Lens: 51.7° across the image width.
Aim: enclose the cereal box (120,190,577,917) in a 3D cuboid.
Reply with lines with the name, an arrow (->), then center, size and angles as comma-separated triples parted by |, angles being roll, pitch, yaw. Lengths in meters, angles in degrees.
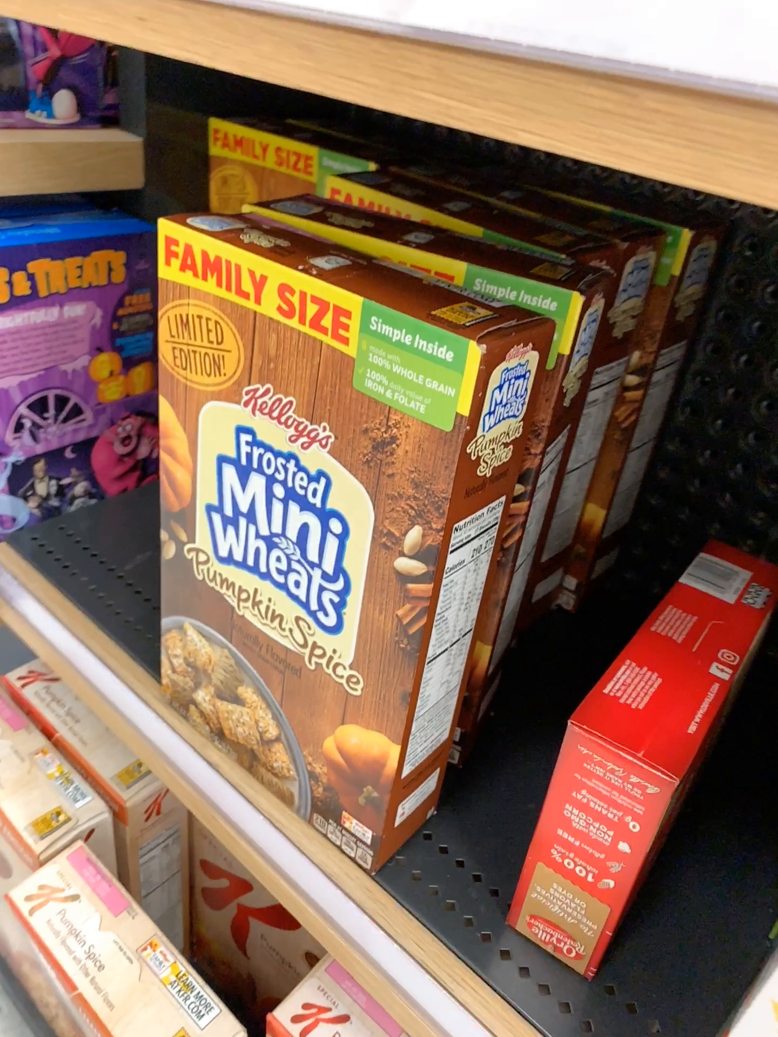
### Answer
cereal box -> -0.048, 0.024, 0.400 | 0.200, 0.308, 0.050 | 29, 35, 28
